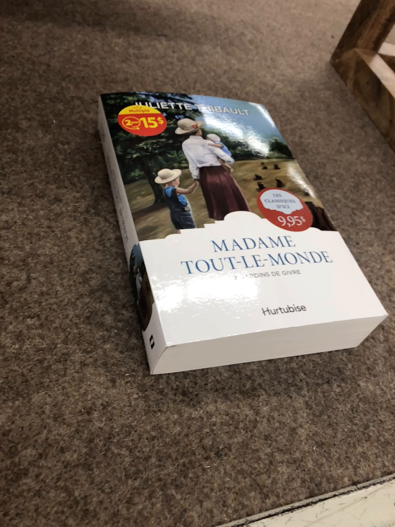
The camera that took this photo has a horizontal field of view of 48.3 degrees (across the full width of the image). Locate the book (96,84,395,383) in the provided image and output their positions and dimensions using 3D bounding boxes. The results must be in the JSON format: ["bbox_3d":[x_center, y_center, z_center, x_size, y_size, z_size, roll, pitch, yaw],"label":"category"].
[{"bbox_3d":[0.022,-0.039,0.328,0.160,0.050,0.222,-4,56,-21],"label":"book"}]
